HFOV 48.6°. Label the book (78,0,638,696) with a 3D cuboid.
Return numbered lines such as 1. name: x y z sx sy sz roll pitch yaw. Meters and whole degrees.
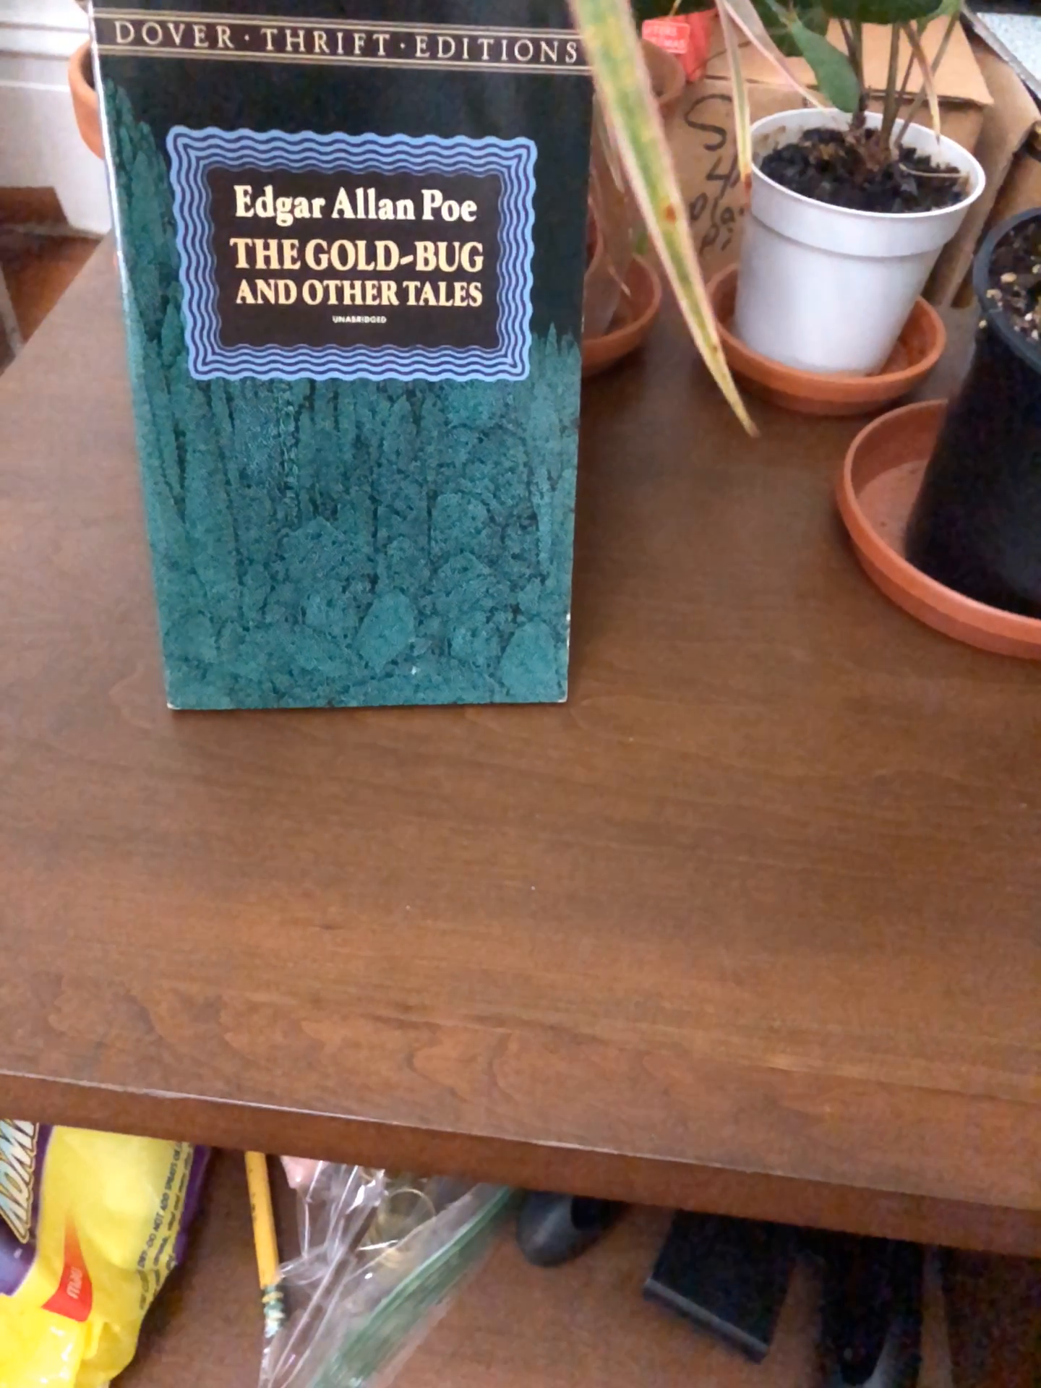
1. book: -0.043 -0.100 0.343 0.140 0.209 0.020 -1 24 -6
